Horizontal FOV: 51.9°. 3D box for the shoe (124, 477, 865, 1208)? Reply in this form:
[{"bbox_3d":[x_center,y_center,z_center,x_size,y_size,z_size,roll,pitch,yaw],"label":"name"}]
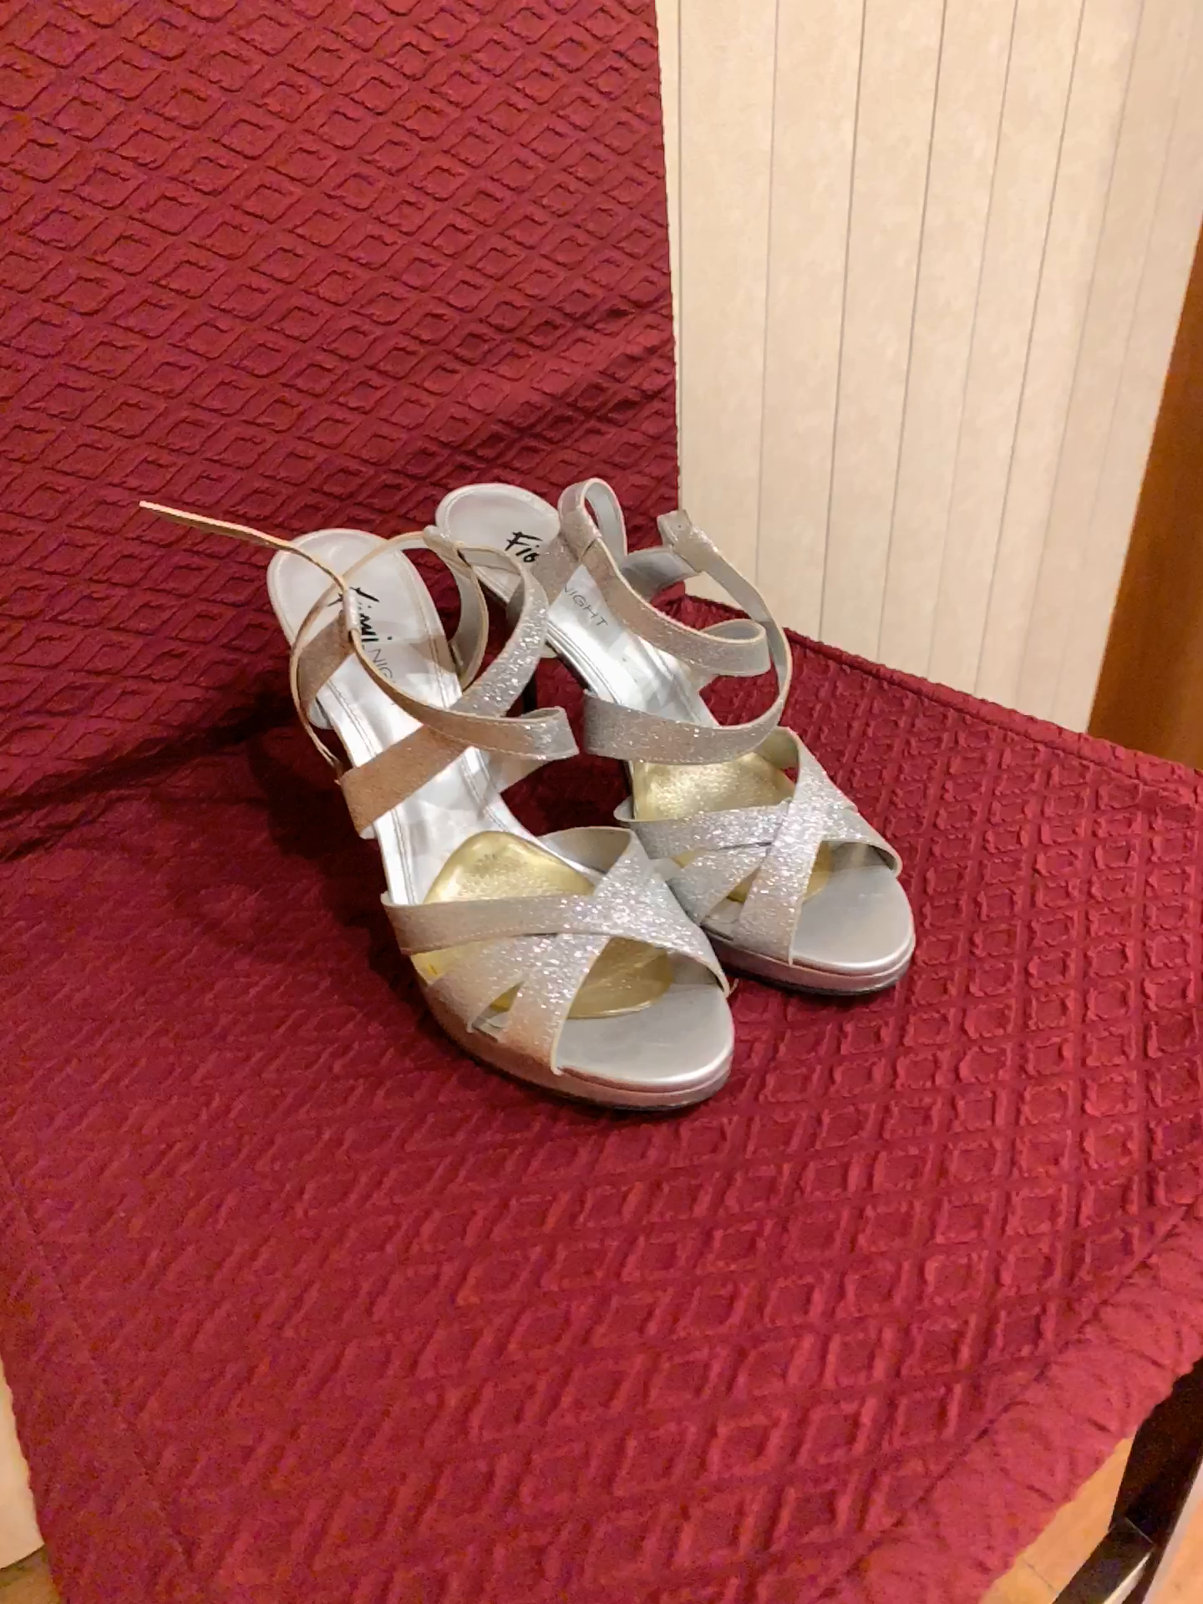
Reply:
[{"bbox_3d":[-0.043,-0.005,0.405,0.100,0.119,0.231,-30,44,-32],"label":"shoe"}]

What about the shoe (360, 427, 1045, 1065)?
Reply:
[{"bbox_3d":[0.023,-0.036,0.441,0.100,0.119,0.221,-28,43,-30],"label":"shoe"}]
